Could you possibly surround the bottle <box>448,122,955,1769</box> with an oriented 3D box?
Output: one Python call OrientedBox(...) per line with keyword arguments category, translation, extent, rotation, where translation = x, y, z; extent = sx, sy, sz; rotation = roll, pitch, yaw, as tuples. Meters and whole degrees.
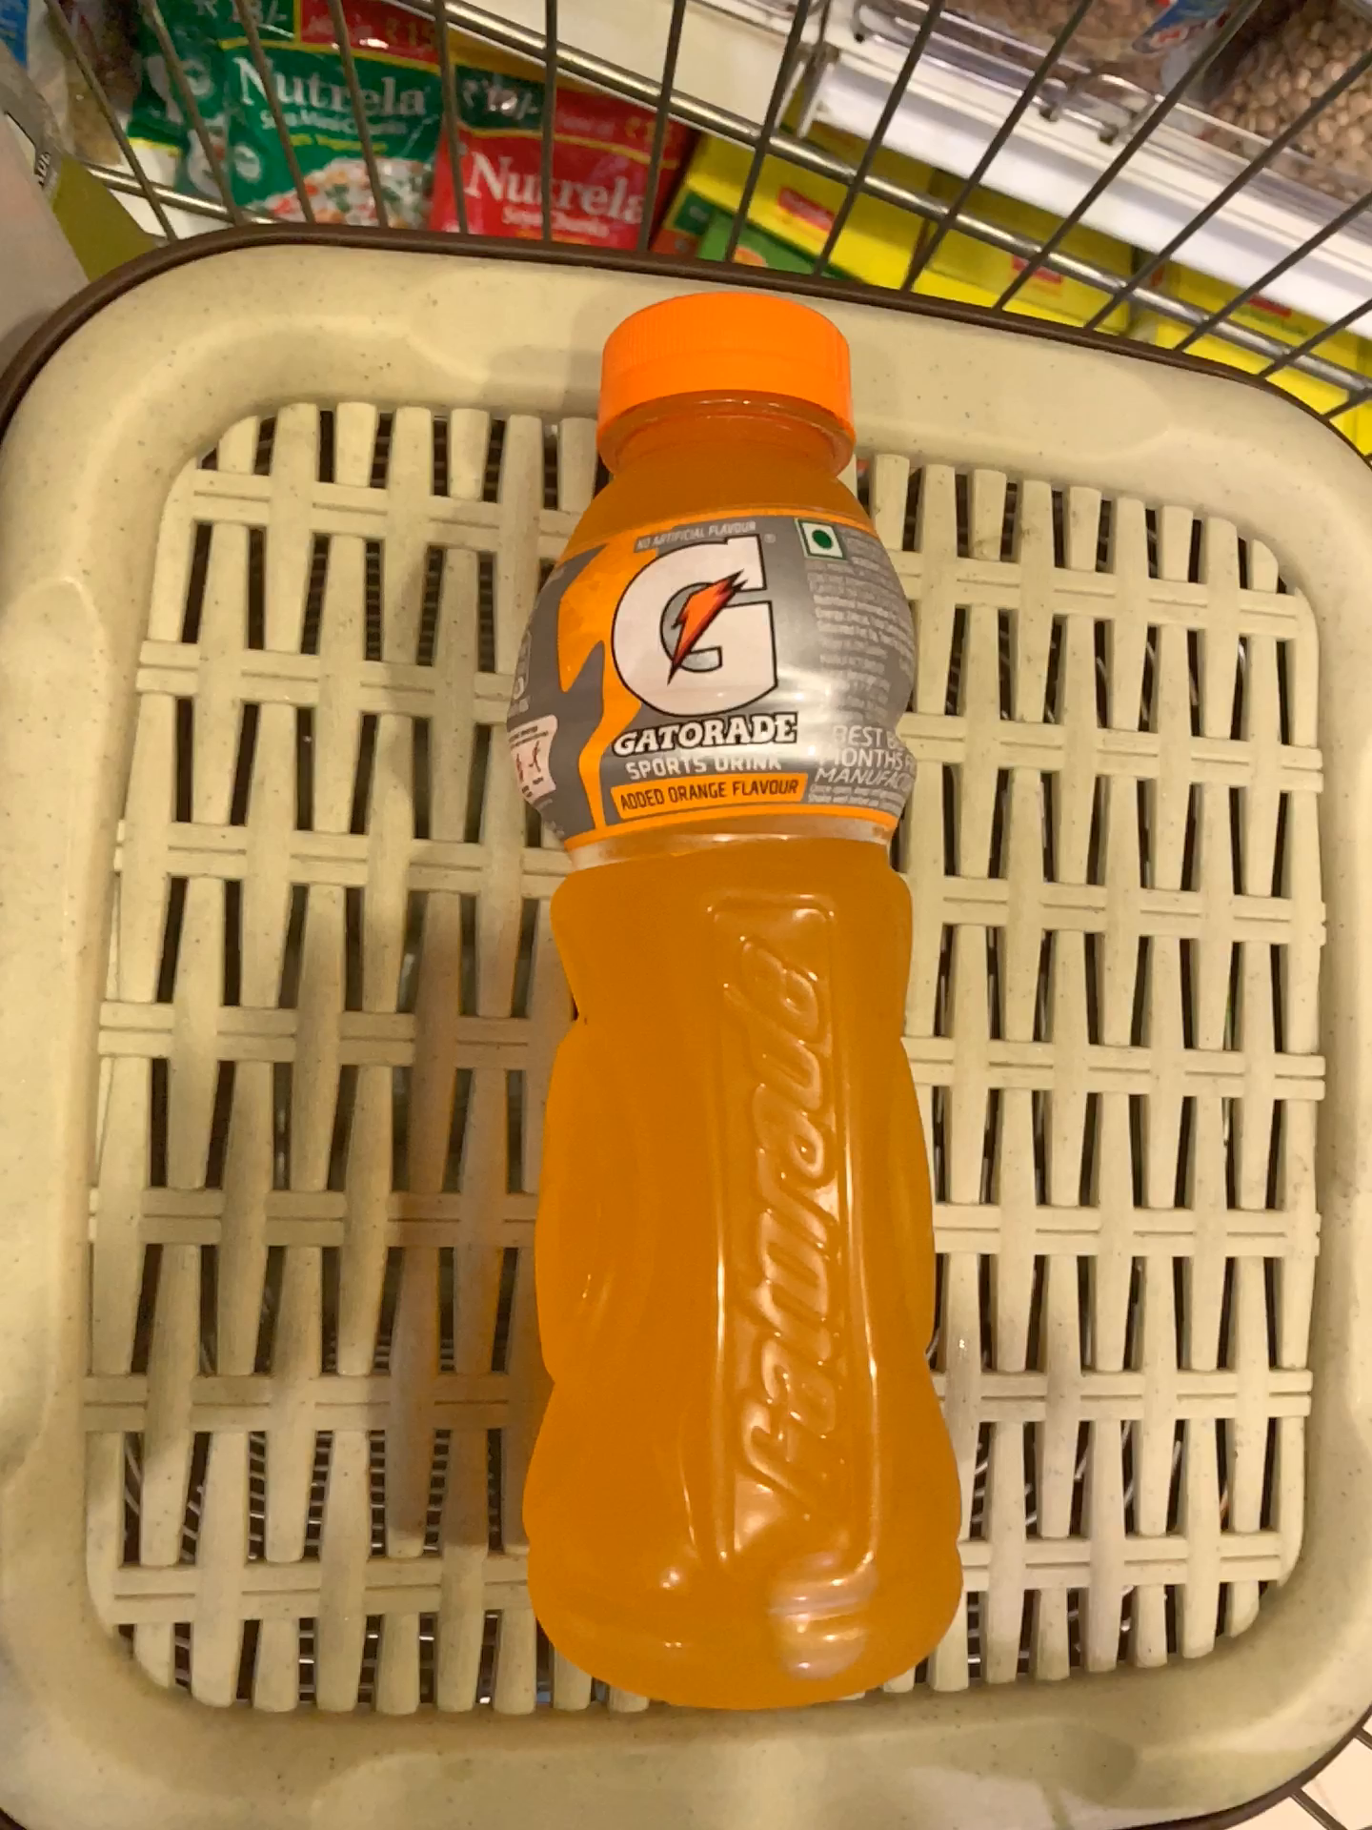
OrientedBox(category="bottle", translation=(0.005, 0.002, 0.217), extent=(0.060, 0.060, 0.210), rotation=(-2, 85, 17))
